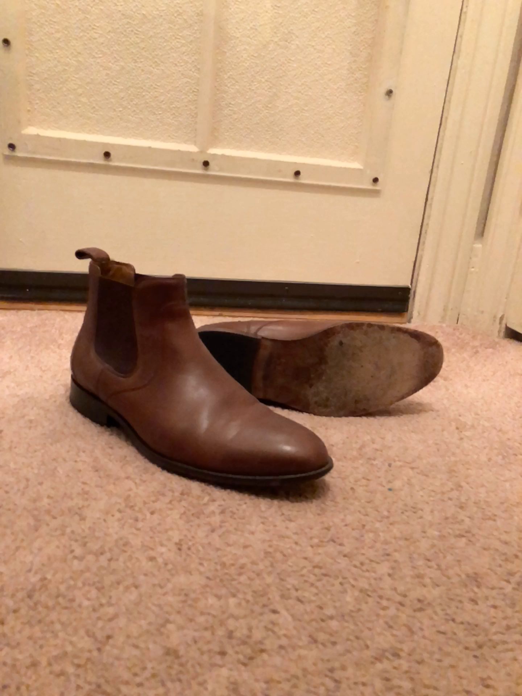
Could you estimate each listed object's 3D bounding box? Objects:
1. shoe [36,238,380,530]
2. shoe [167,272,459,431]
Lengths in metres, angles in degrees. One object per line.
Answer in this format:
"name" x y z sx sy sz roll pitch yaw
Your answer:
"shoe" -0.065 0.007 0.512 0.296 0.158 0.109 18 21 33
"shoe" 0.048 -0.003 0.682 0.296 0.119 0.170 5 17 -6
